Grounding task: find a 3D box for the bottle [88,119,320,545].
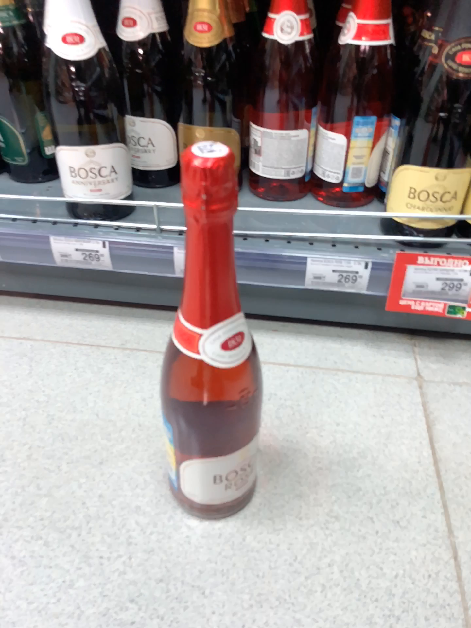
[{"bbox_3d":[-0.023,0.032,0.400,0.100,0.317,0.100,1,38,-1],"label":"bottle"}]
